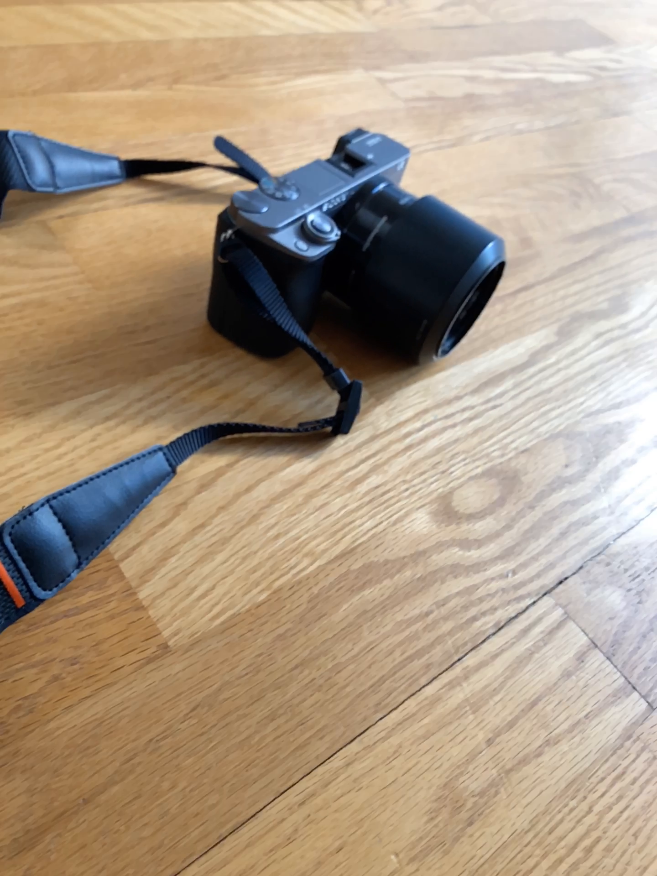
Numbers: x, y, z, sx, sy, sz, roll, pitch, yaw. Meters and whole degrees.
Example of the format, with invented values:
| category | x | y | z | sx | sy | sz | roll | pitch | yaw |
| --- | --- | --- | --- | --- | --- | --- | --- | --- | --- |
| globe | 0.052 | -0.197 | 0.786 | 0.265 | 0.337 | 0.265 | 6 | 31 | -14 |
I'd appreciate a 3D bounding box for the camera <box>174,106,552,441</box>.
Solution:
| category | x | y | z | sx | sy | sz | roll | pitch | yaw |
| --- | --- | --- | --- | --- | --- | --- | --- | --- | --- |
| camera | 0.019 | -0.086 | 0.349 | 0.110 | 0.060 | 0.141 | 36 | 49 | 13 |
